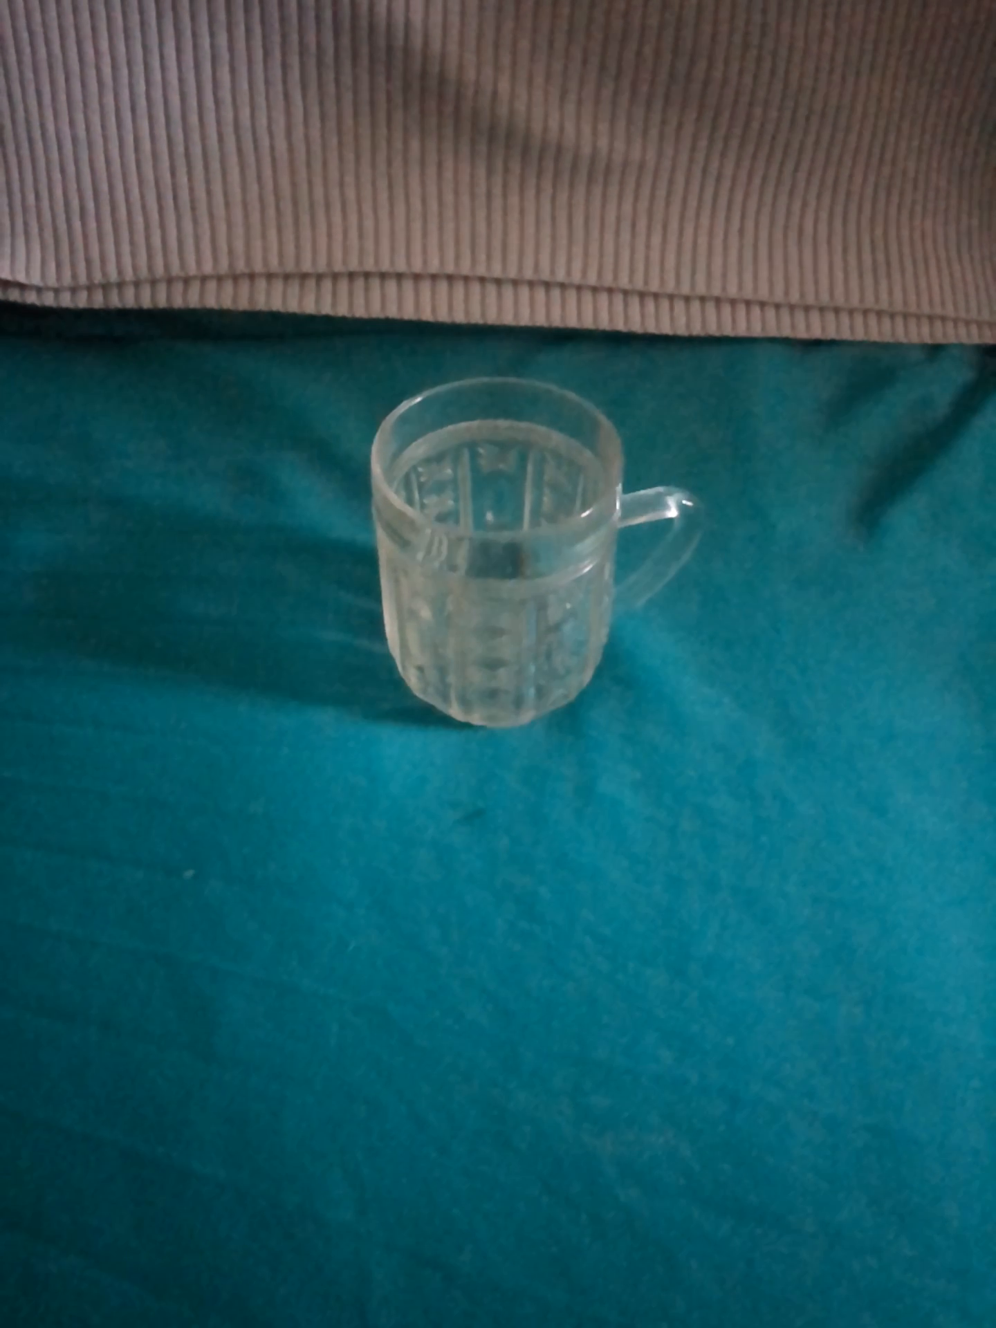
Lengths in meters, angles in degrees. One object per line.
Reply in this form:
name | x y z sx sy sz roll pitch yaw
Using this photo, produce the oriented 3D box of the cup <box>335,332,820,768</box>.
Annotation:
cup | 0.017 -0.031 0.305 0.104 0.076 0.064 -15 56 -13
